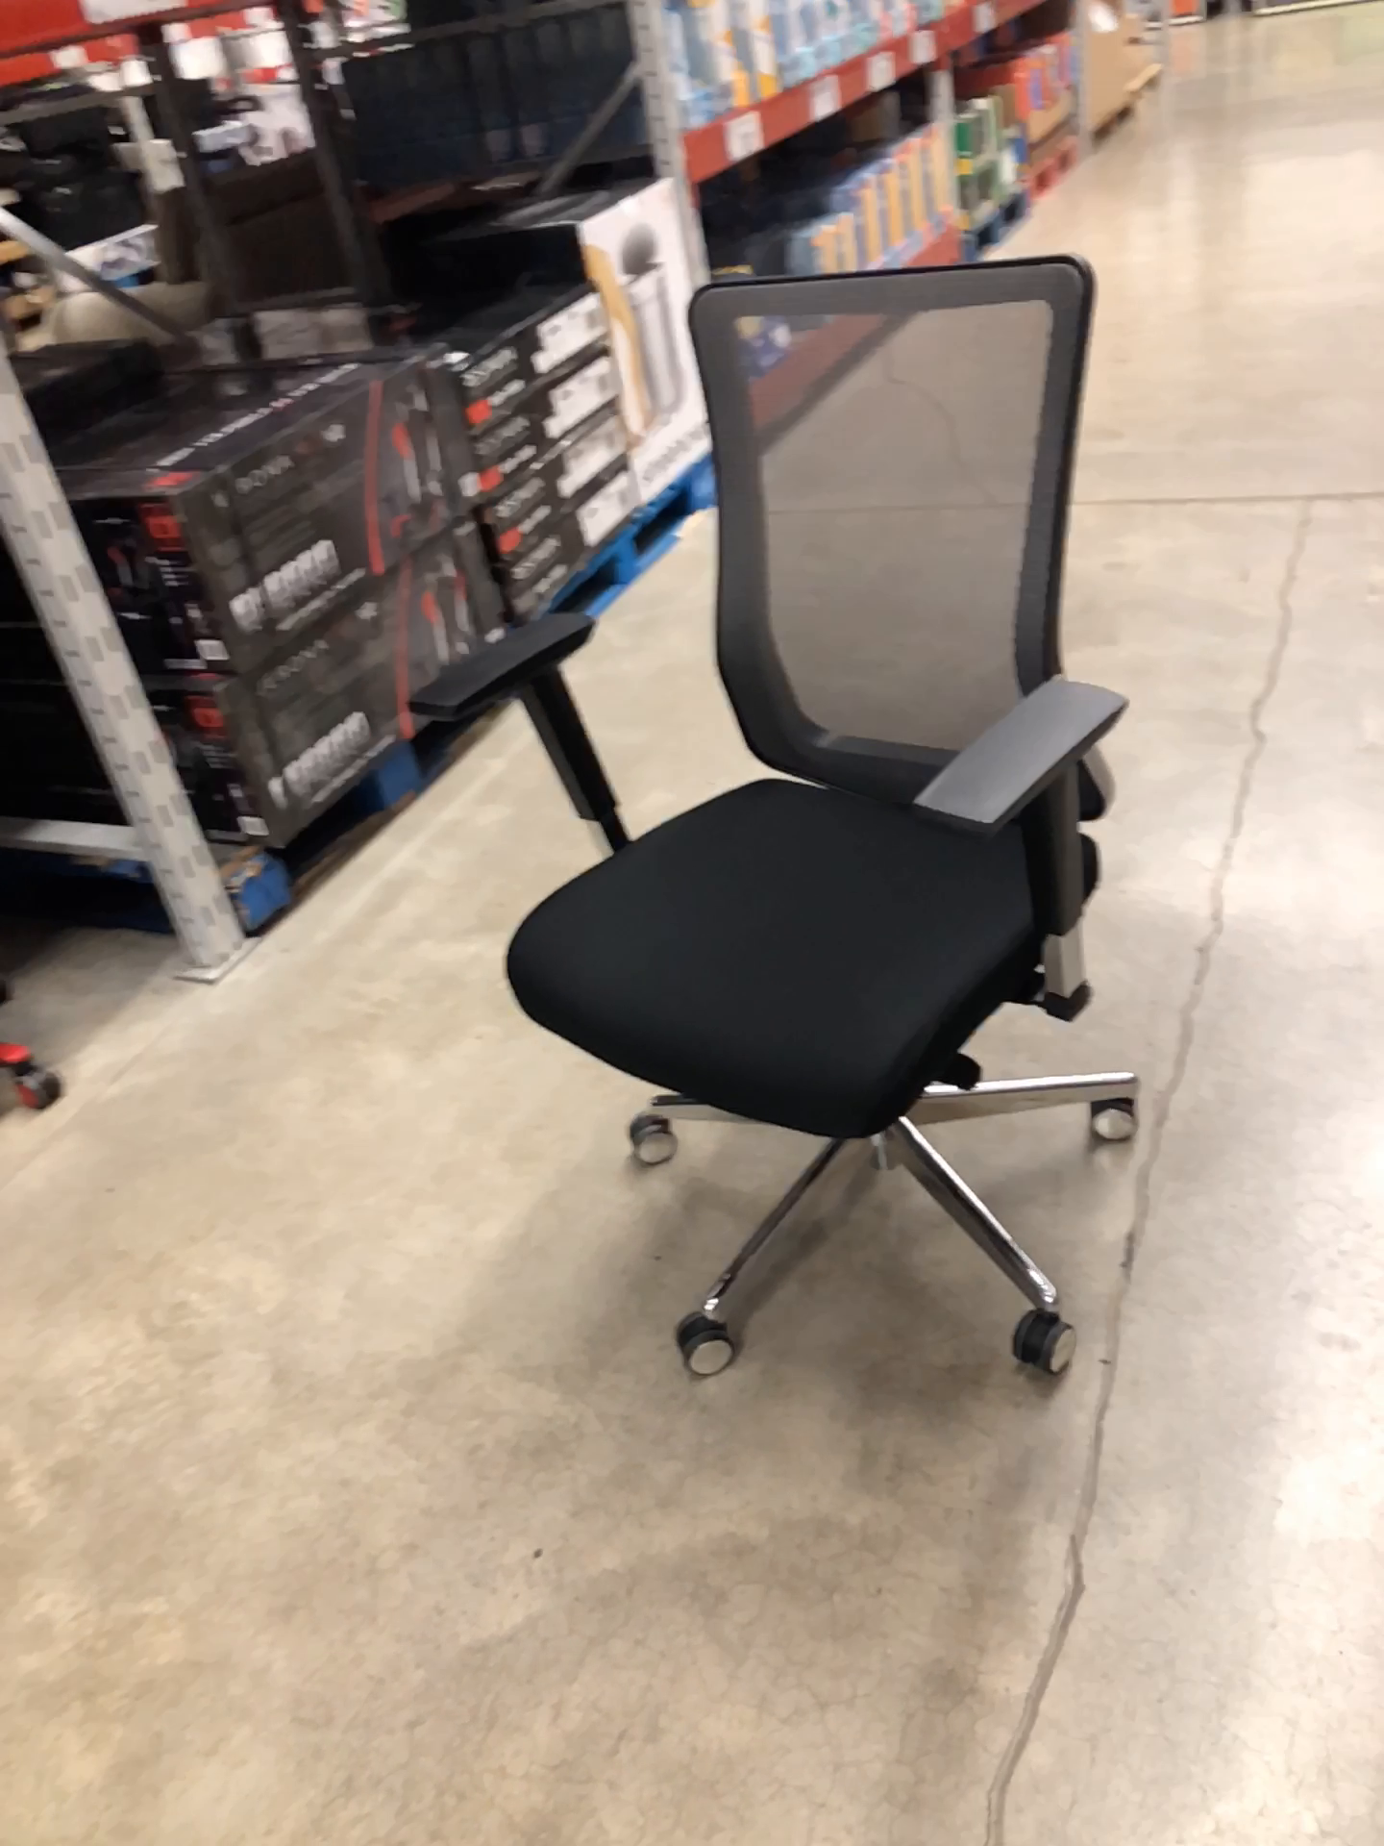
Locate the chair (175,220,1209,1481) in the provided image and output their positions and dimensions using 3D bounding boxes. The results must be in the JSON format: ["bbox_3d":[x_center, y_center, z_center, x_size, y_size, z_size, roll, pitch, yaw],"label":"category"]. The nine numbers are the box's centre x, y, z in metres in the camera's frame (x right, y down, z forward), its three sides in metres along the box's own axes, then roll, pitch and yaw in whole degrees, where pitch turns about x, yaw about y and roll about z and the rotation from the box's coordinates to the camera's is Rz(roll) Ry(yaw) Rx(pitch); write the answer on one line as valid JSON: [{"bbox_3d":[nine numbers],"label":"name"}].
[{"bbox_3d":[0.115,-0.107,1.629,0.691,0.987,0.711,8,37,29],"label":"chair"}]
